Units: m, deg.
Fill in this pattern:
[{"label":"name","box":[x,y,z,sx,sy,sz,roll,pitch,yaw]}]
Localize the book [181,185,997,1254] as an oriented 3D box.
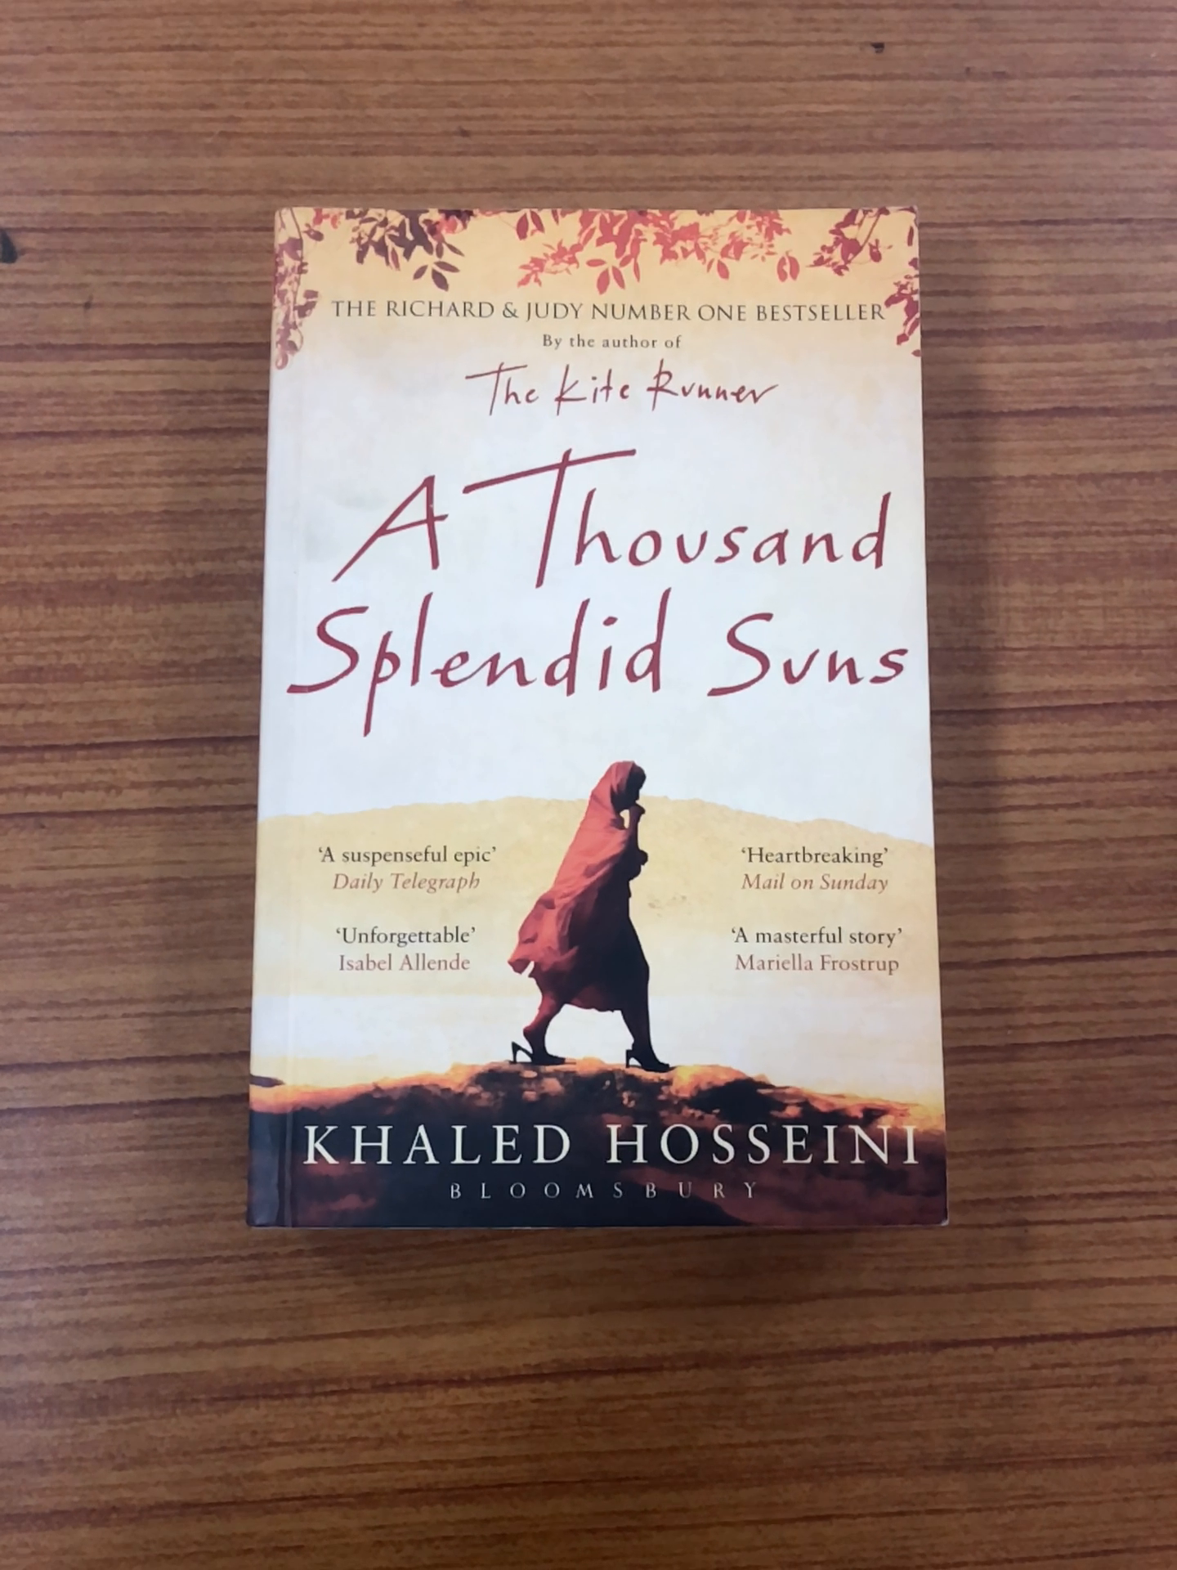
[{"label":"book","box":[0.000,-0.014,0.249,0.140,0.030,0.190,0,85,-2]}]
